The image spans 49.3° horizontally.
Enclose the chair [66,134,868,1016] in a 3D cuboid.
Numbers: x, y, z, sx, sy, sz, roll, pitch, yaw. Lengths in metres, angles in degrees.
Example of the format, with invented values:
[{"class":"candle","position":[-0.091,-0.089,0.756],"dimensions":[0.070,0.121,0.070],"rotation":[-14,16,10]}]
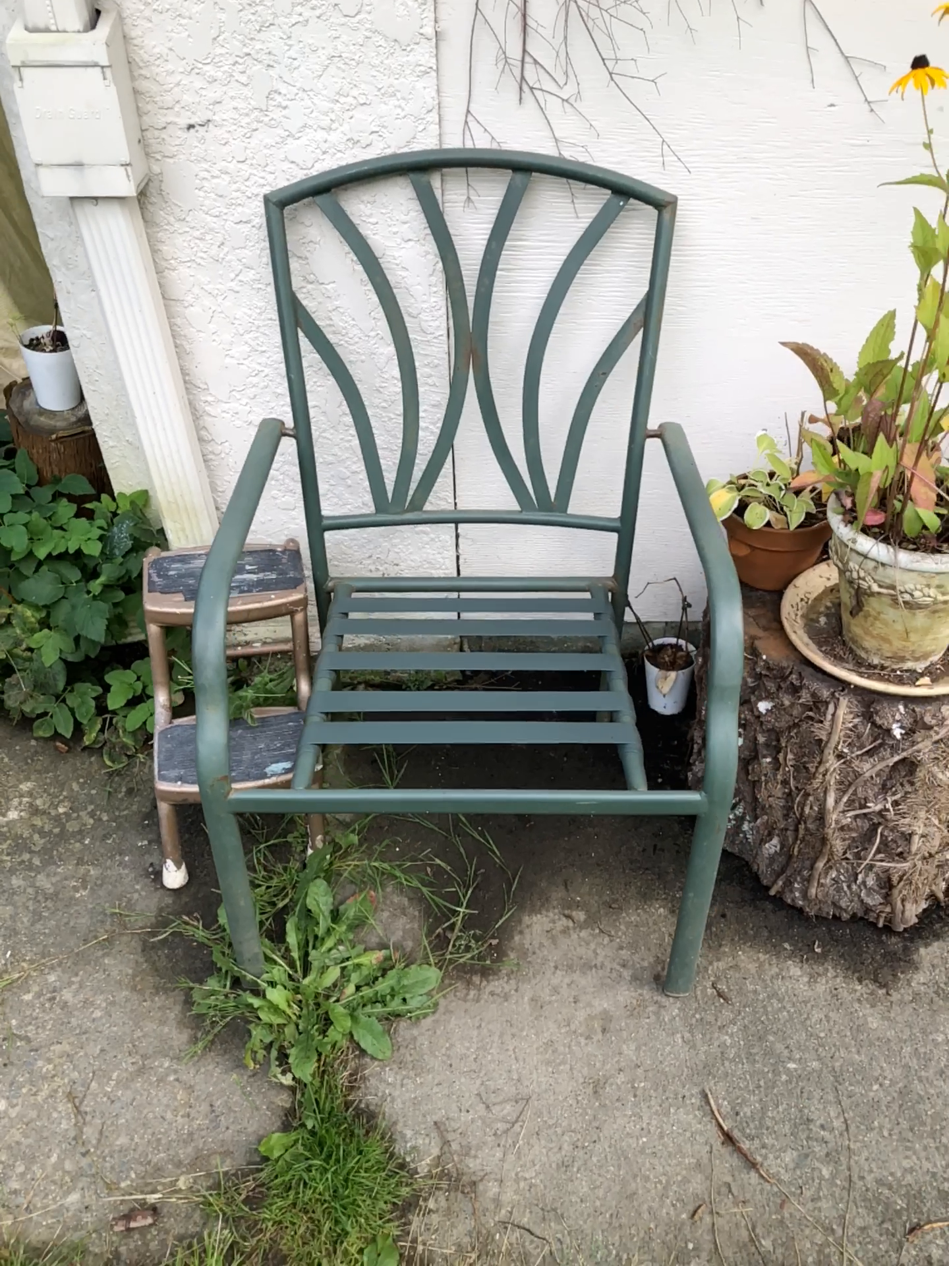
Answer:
[{"class":"chair","position":[0.003,-0.068,1.347],"dimensions":[0.620,0.903,0.685],"rotation":[-1,38,1]}]
